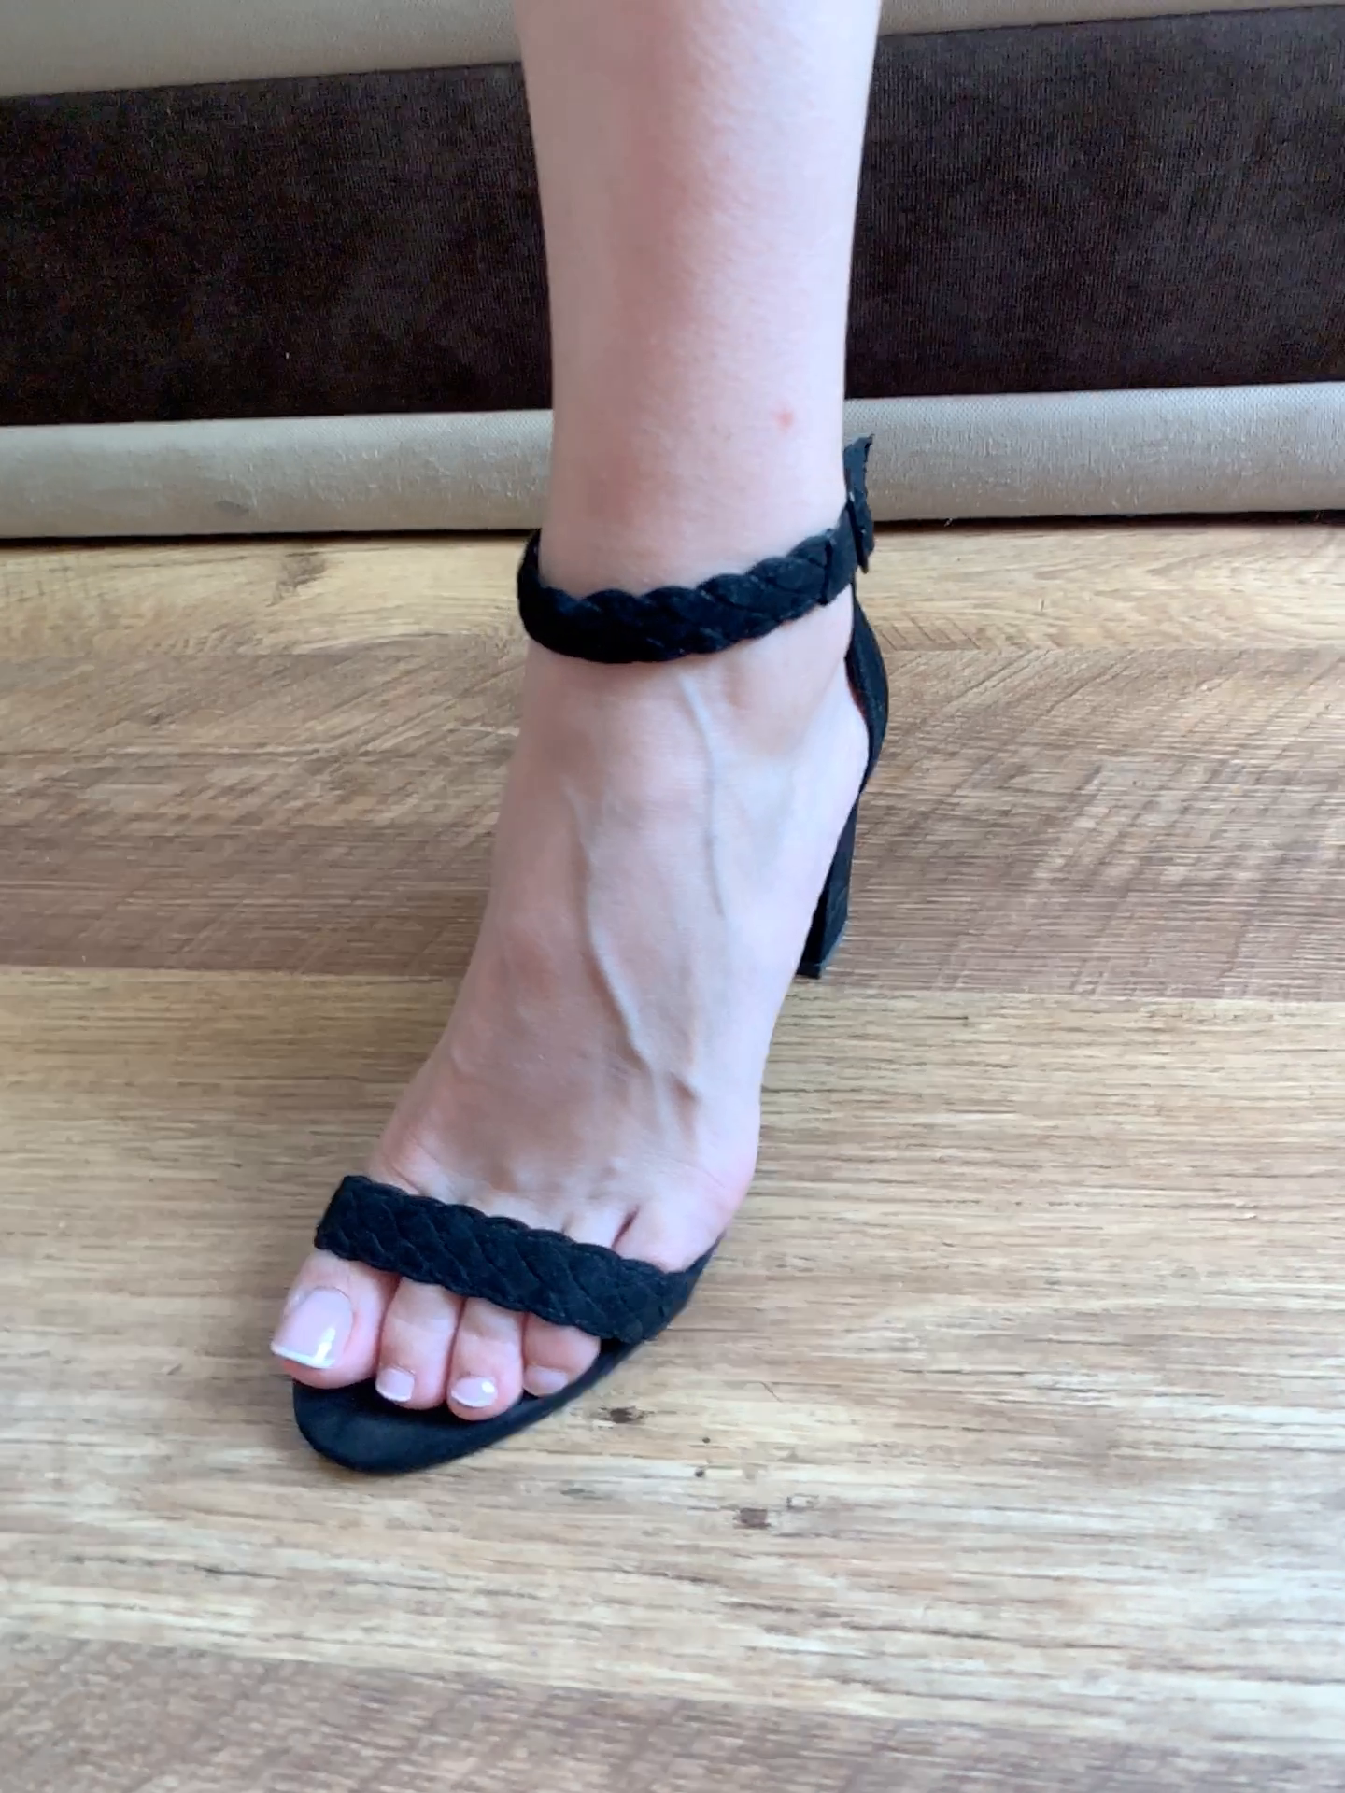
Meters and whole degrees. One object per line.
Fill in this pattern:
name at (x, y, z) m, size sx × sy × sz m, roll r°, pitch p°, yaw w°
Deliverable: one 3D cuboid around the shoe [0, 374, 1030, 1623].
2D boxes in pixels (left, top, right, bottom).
shoe at (-0.013, 0.003, 0.310) m, size 0.090 × 0.149 × 0.231 m, roll 19°, pitch 46°, yaw 27°
